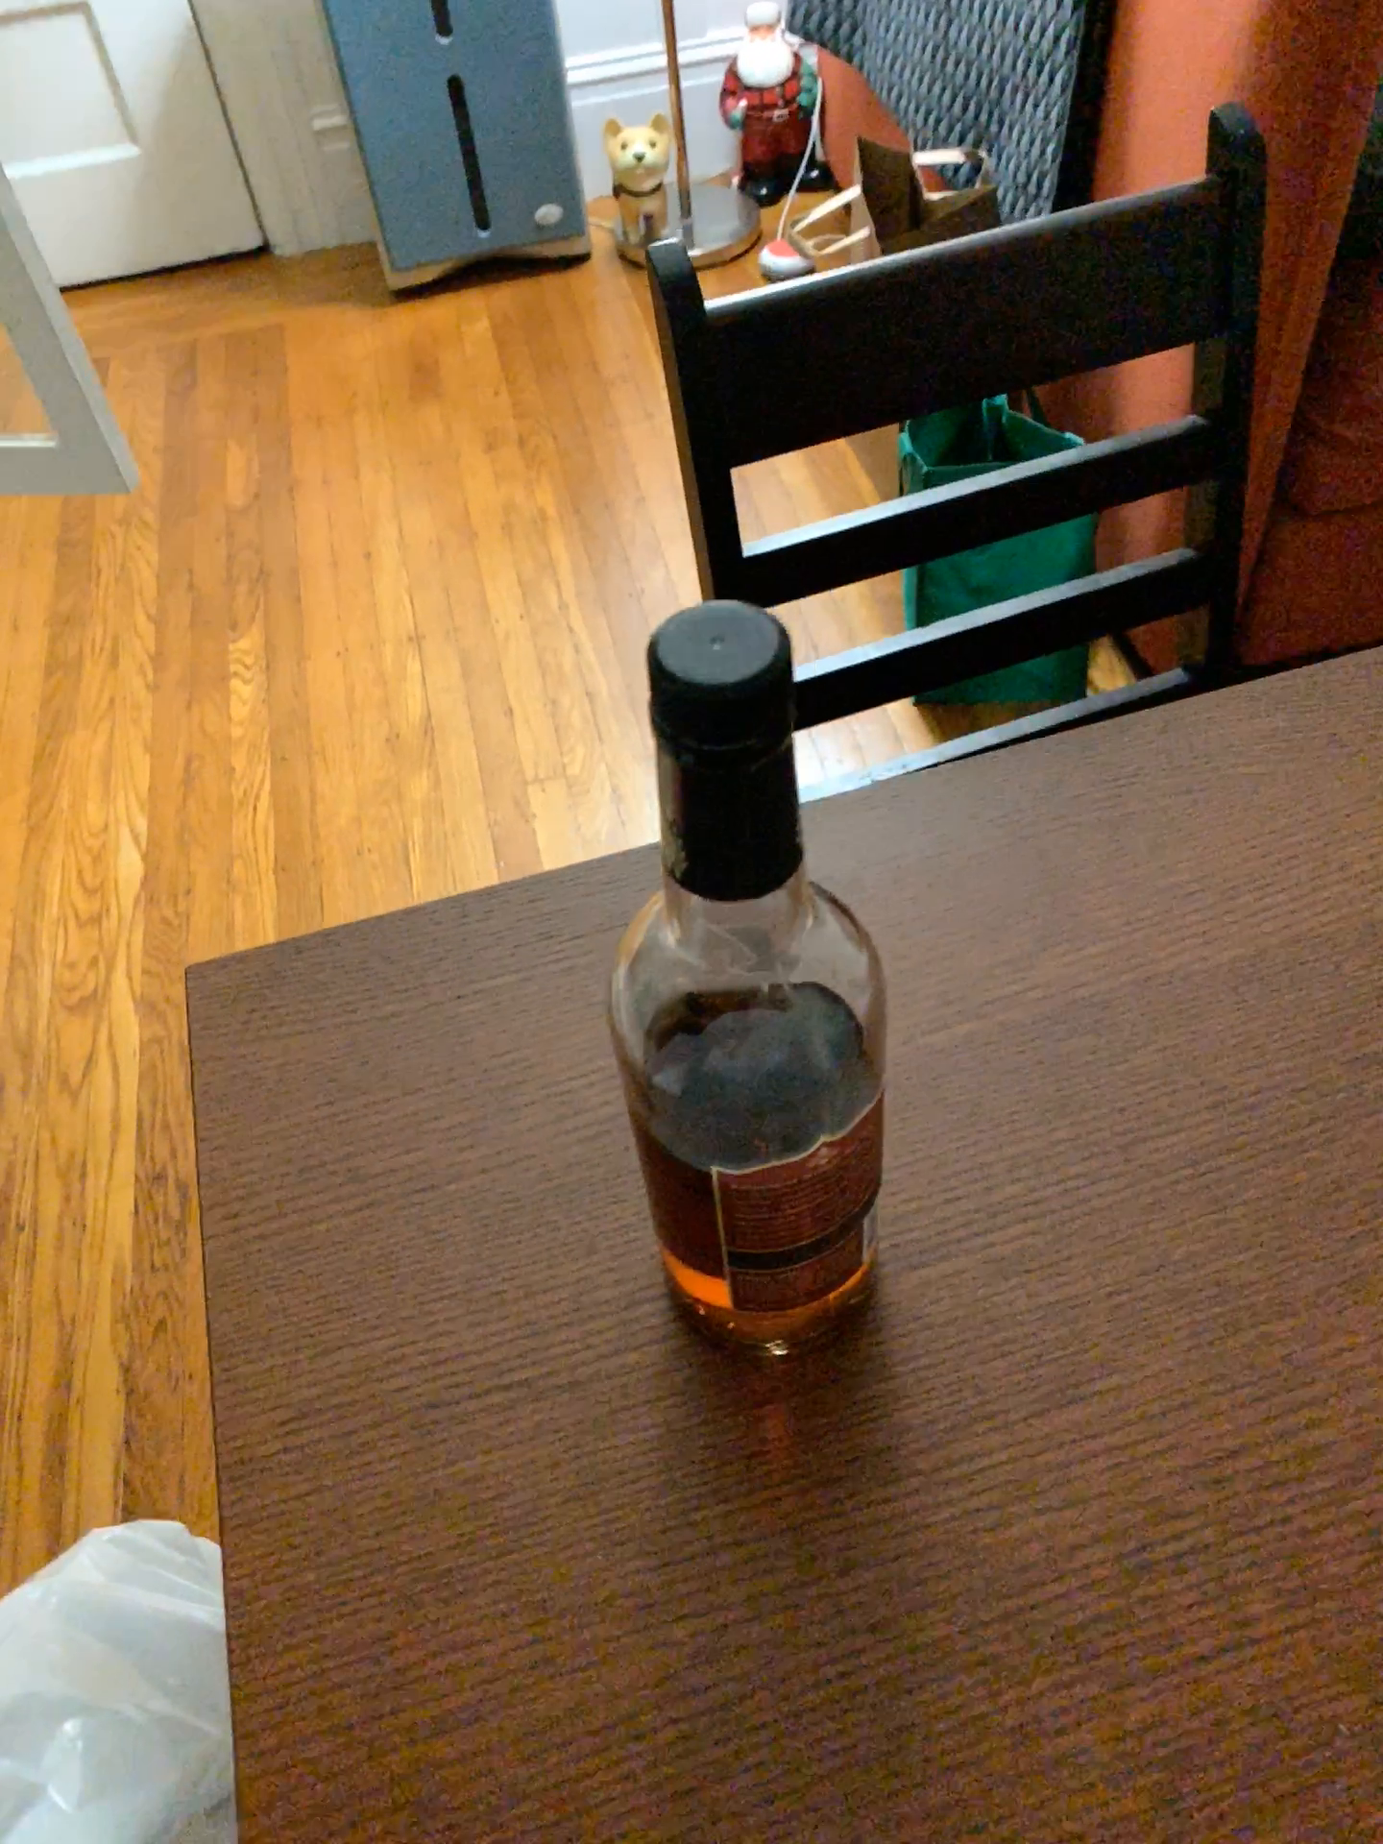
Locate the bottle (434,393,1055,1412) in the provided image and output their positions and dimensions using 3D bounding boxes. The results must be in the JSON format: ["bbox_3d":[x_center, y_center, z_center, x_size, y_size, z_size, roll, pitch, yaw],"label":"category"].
[{"bbox_3d":[0.019,0.021,0.390,0.090,0.289,0.090,-3,51,4],"label":"bottle"}]
